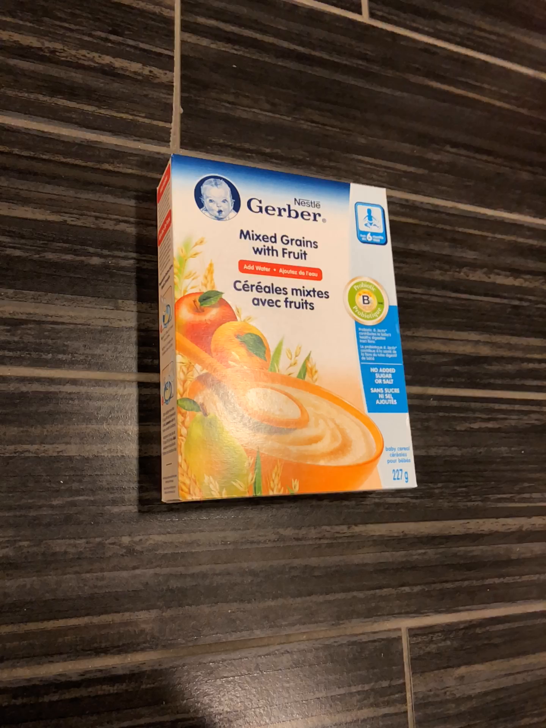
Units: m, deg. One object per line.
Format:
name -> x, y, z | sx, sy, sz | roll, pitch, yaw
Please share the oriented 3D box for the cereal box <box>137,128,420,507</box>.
cereal box -> 0.000, -0.022, 0.360 | 0.150, 0.050, 0.200 | 2, 77, -23
